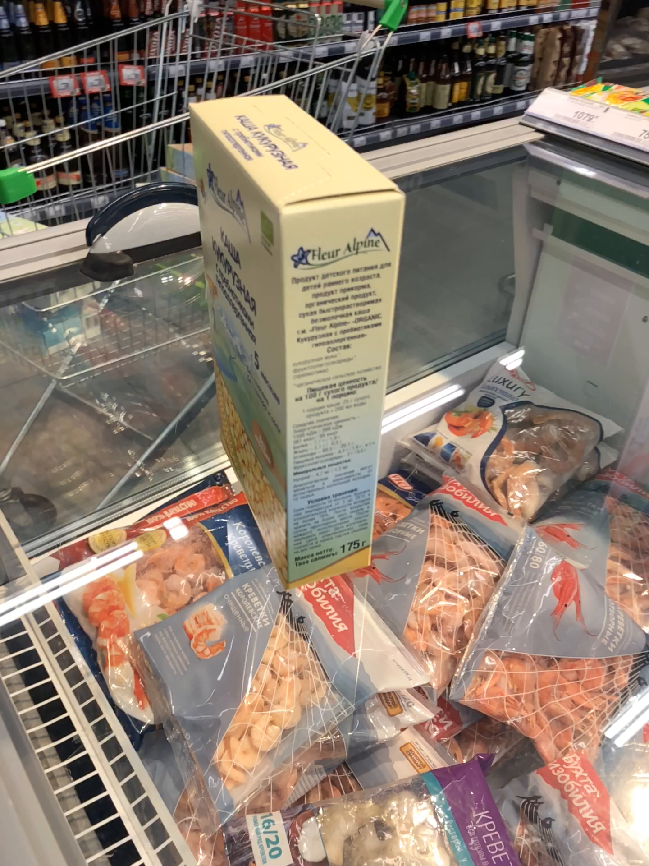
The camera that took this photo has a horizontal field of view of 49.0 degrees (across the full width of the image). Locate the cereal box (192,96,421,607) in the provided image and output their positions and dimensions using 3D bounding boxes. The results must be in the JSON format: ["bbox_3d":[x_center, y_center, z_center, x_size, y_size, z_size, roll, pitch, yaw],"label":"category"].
[{"bbox_3d":[-0.017,-0.036,0.353,0.050,0.209,0.131,-13,41,-18],"label":"cereal box"}]
